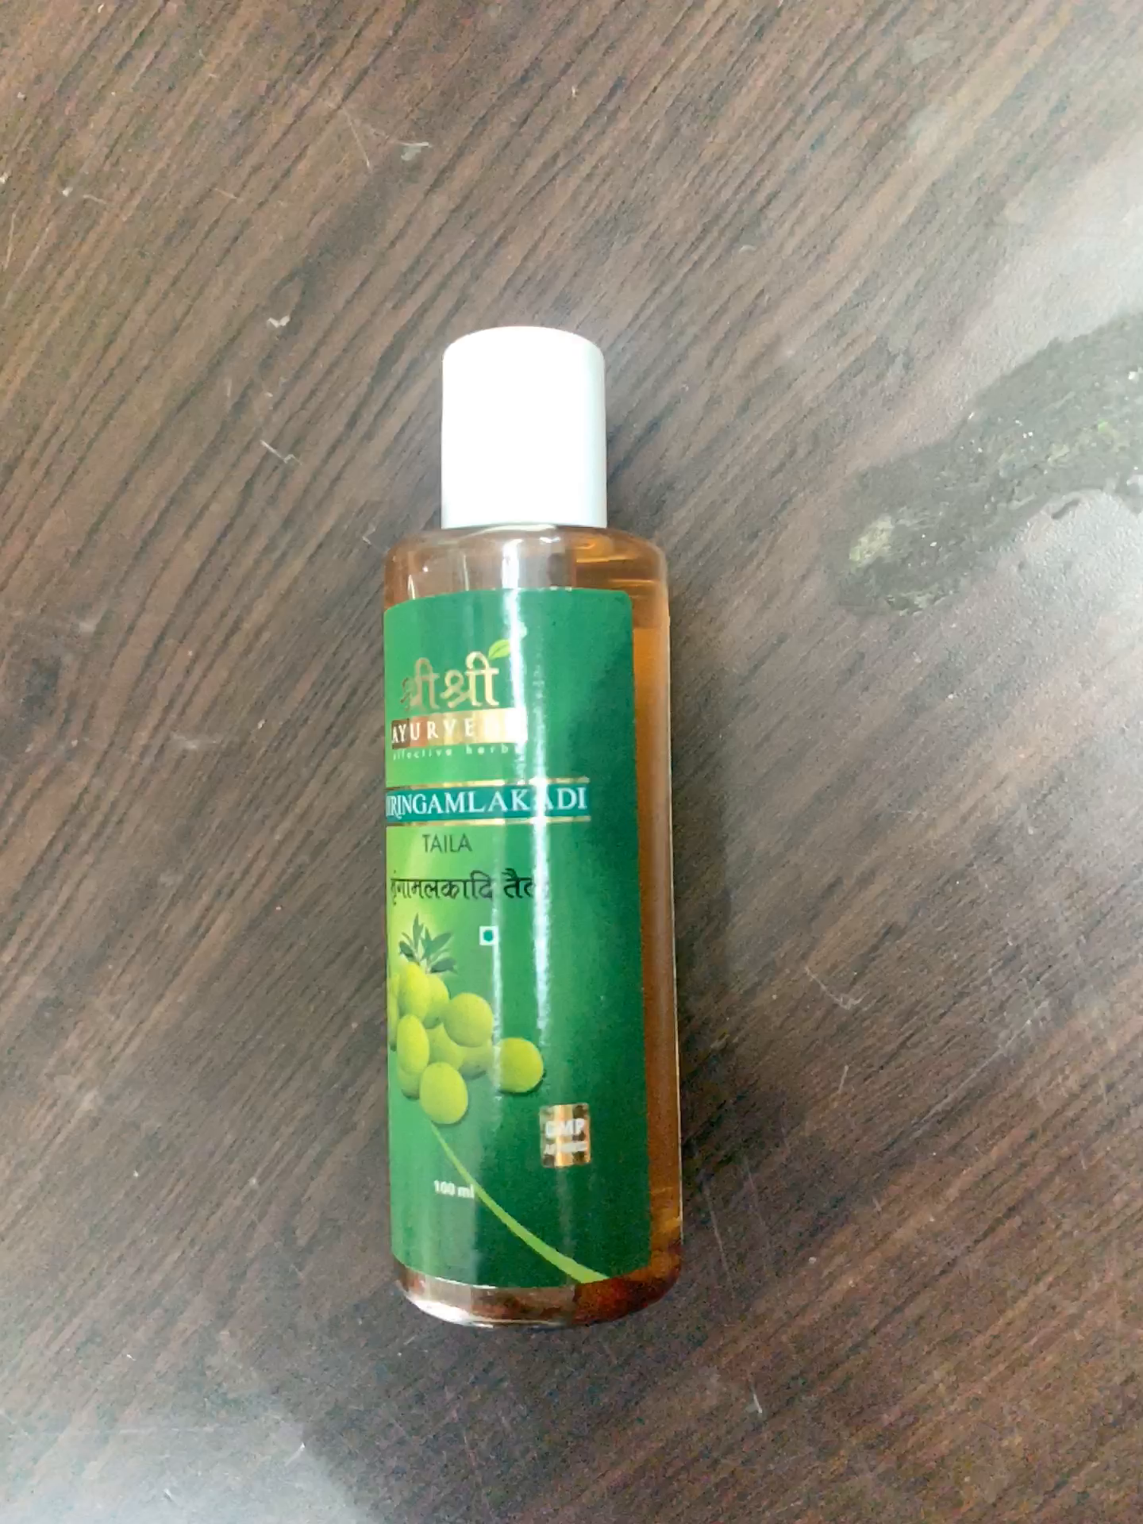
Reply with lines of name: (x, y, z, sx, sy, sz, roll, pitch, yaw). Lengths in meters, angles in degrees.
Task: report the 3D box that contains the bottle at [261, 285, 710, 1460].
bottle: (-0.009, 0.011, 0.149, 0.040, 0.040, 0.120, -2, 87, 28)
